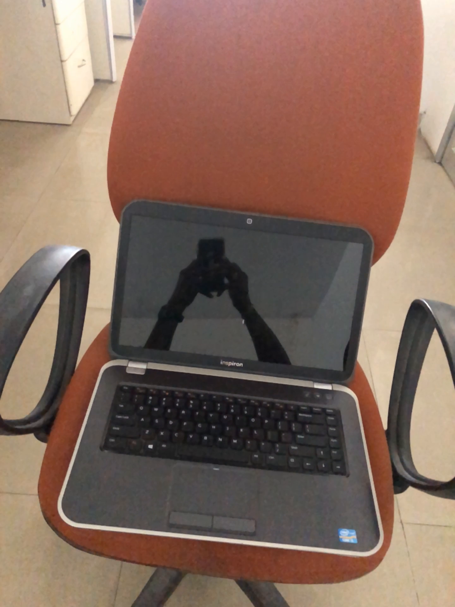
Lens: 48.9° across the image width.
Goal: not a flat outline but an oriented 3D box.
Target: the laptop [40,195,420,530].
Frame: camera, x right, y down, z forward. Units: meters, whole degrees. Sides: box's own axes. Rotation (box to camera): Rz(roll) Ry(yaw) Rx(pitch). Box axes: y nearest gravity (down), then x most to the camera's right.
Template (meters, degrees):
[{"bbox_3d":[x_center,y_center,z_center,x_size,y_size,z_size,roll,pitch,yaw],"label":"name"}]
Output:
[{"bbox_3d":[0.007,0.050,0.646,0.352,0.173,0.353,7,43,1],"label":"laptop"}]
